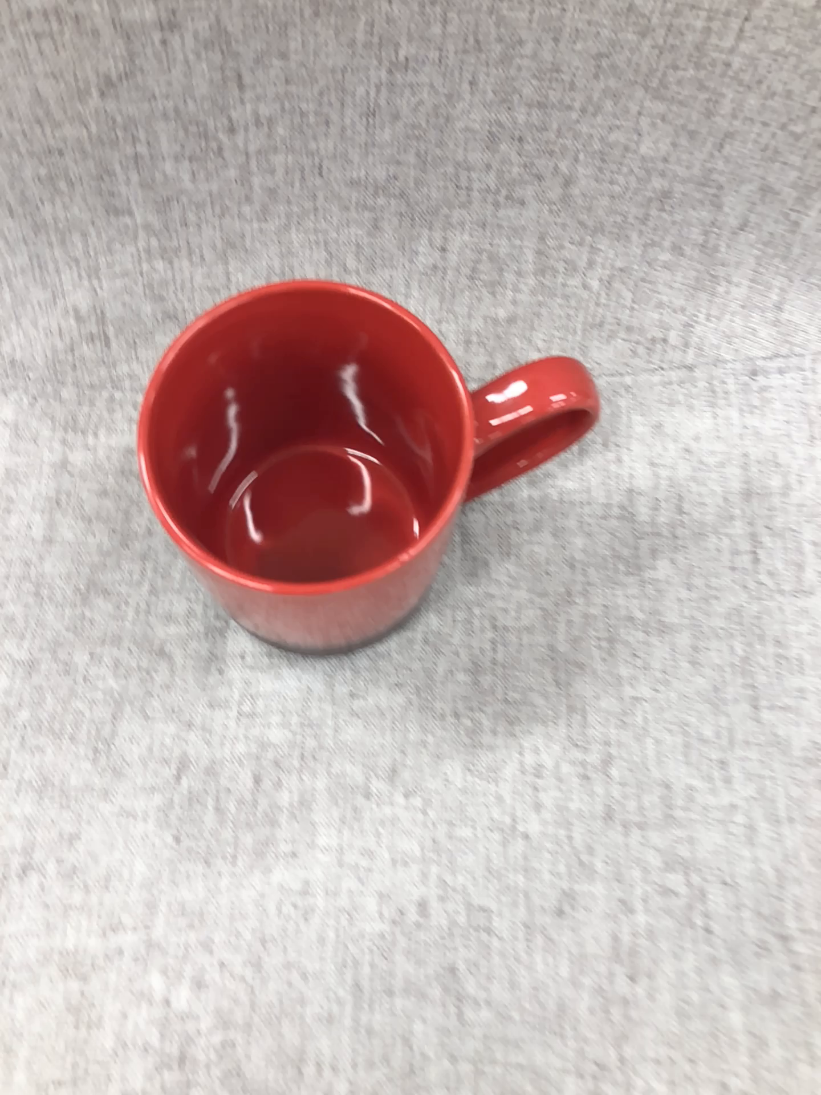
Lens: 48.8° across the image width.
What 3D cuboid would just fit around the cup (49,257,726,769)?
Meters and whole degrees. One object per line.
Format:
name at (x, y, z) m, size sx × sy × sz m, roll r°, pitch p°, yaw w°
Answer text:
cup at (-0.007, -0.001, 0.261) m, size 0.140 × 0.100 × 0.080 m, roll -20°, pitch 77°, yaw -6°
